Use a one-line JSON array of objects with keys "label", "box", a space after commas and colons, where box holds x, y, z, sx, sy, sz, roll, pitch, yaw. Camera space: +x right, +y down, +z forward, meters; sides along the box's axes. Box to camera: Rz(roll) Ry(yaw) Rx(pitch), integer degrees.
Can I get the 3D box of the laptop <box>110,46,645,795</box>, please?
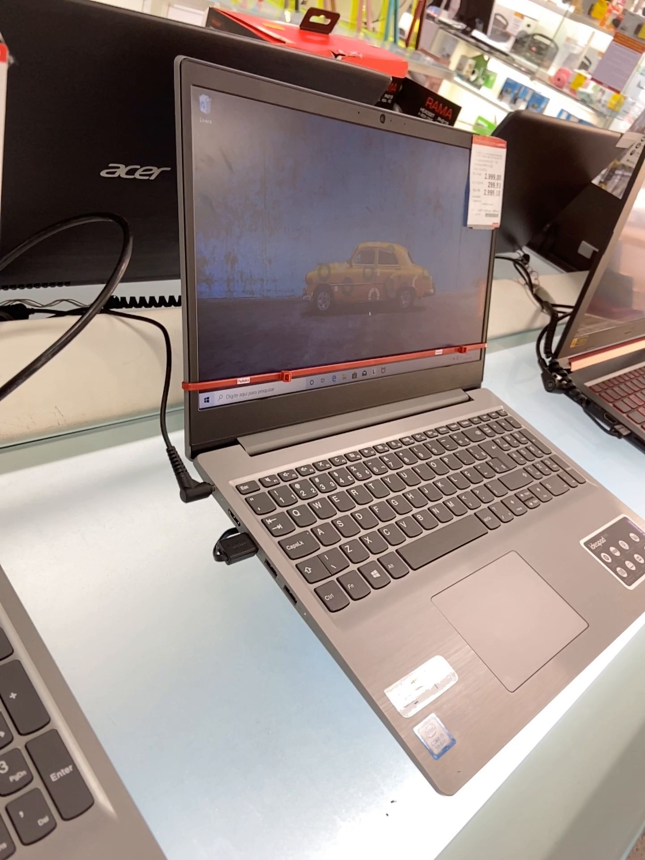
[{"label": "laptop", "box": [0.116, -0.053, 0.484, 0.370, 0.209, 0.379, -13, 50, -43]}]
